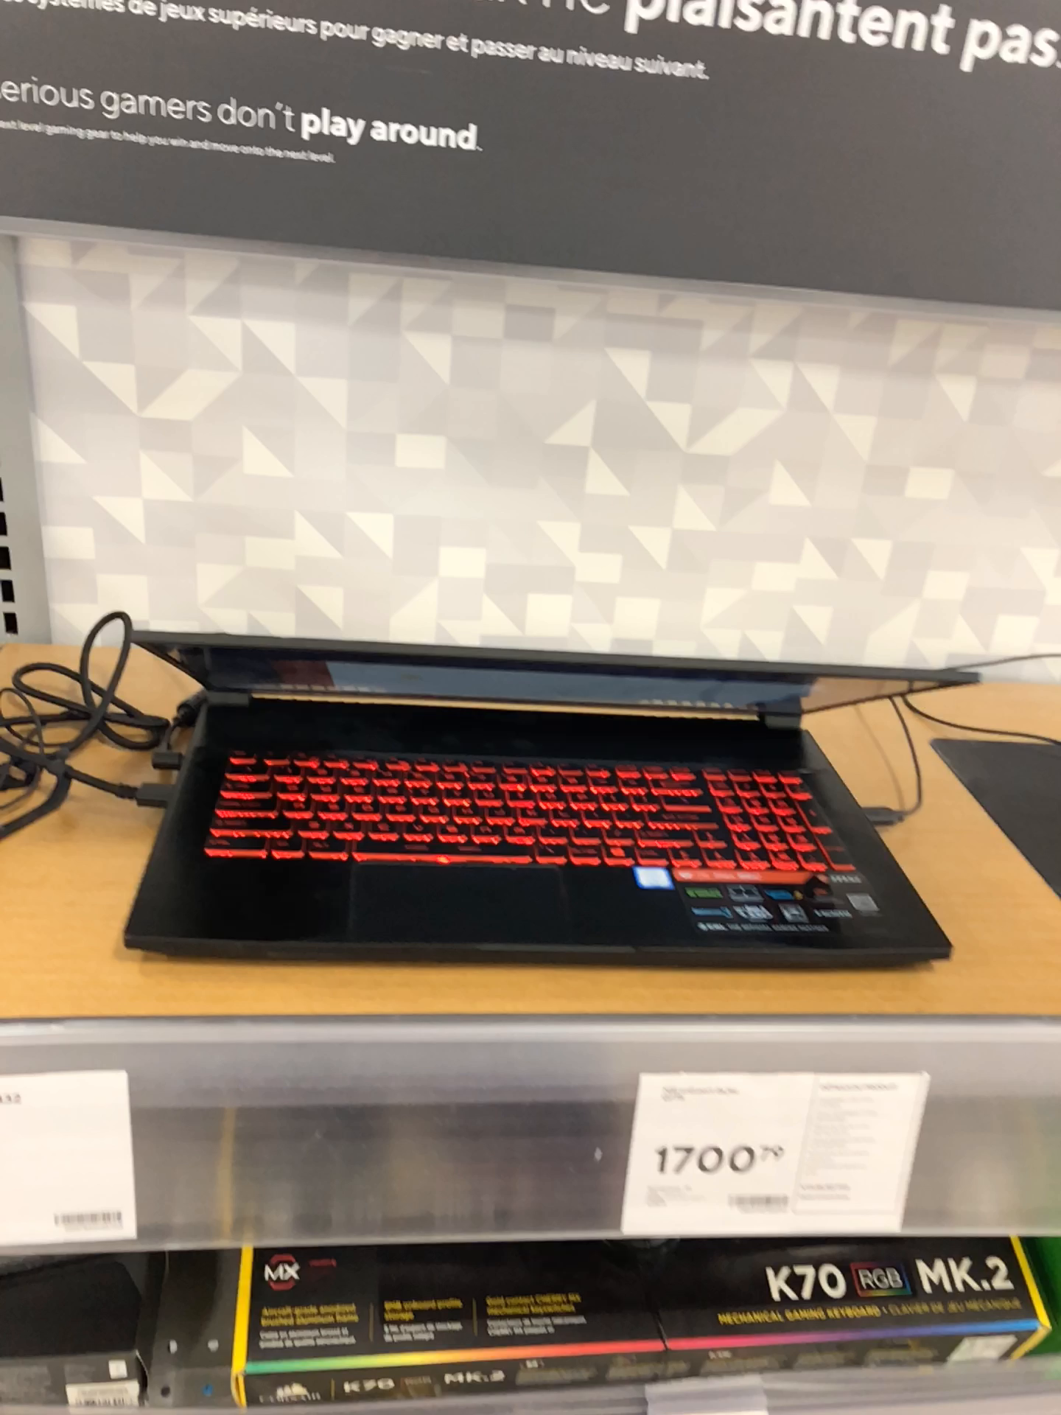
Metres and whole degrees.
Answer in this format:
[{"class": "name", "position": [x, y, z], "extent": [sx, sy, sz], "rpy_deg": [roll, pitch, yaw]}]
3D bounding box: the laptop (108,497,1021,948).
[{"class": "laptop", "position": [0.006, -0.002, 0.634], "extent": [0.393, 0.133, 0.249], "rpy_deg": [2, 26, -7]}]
